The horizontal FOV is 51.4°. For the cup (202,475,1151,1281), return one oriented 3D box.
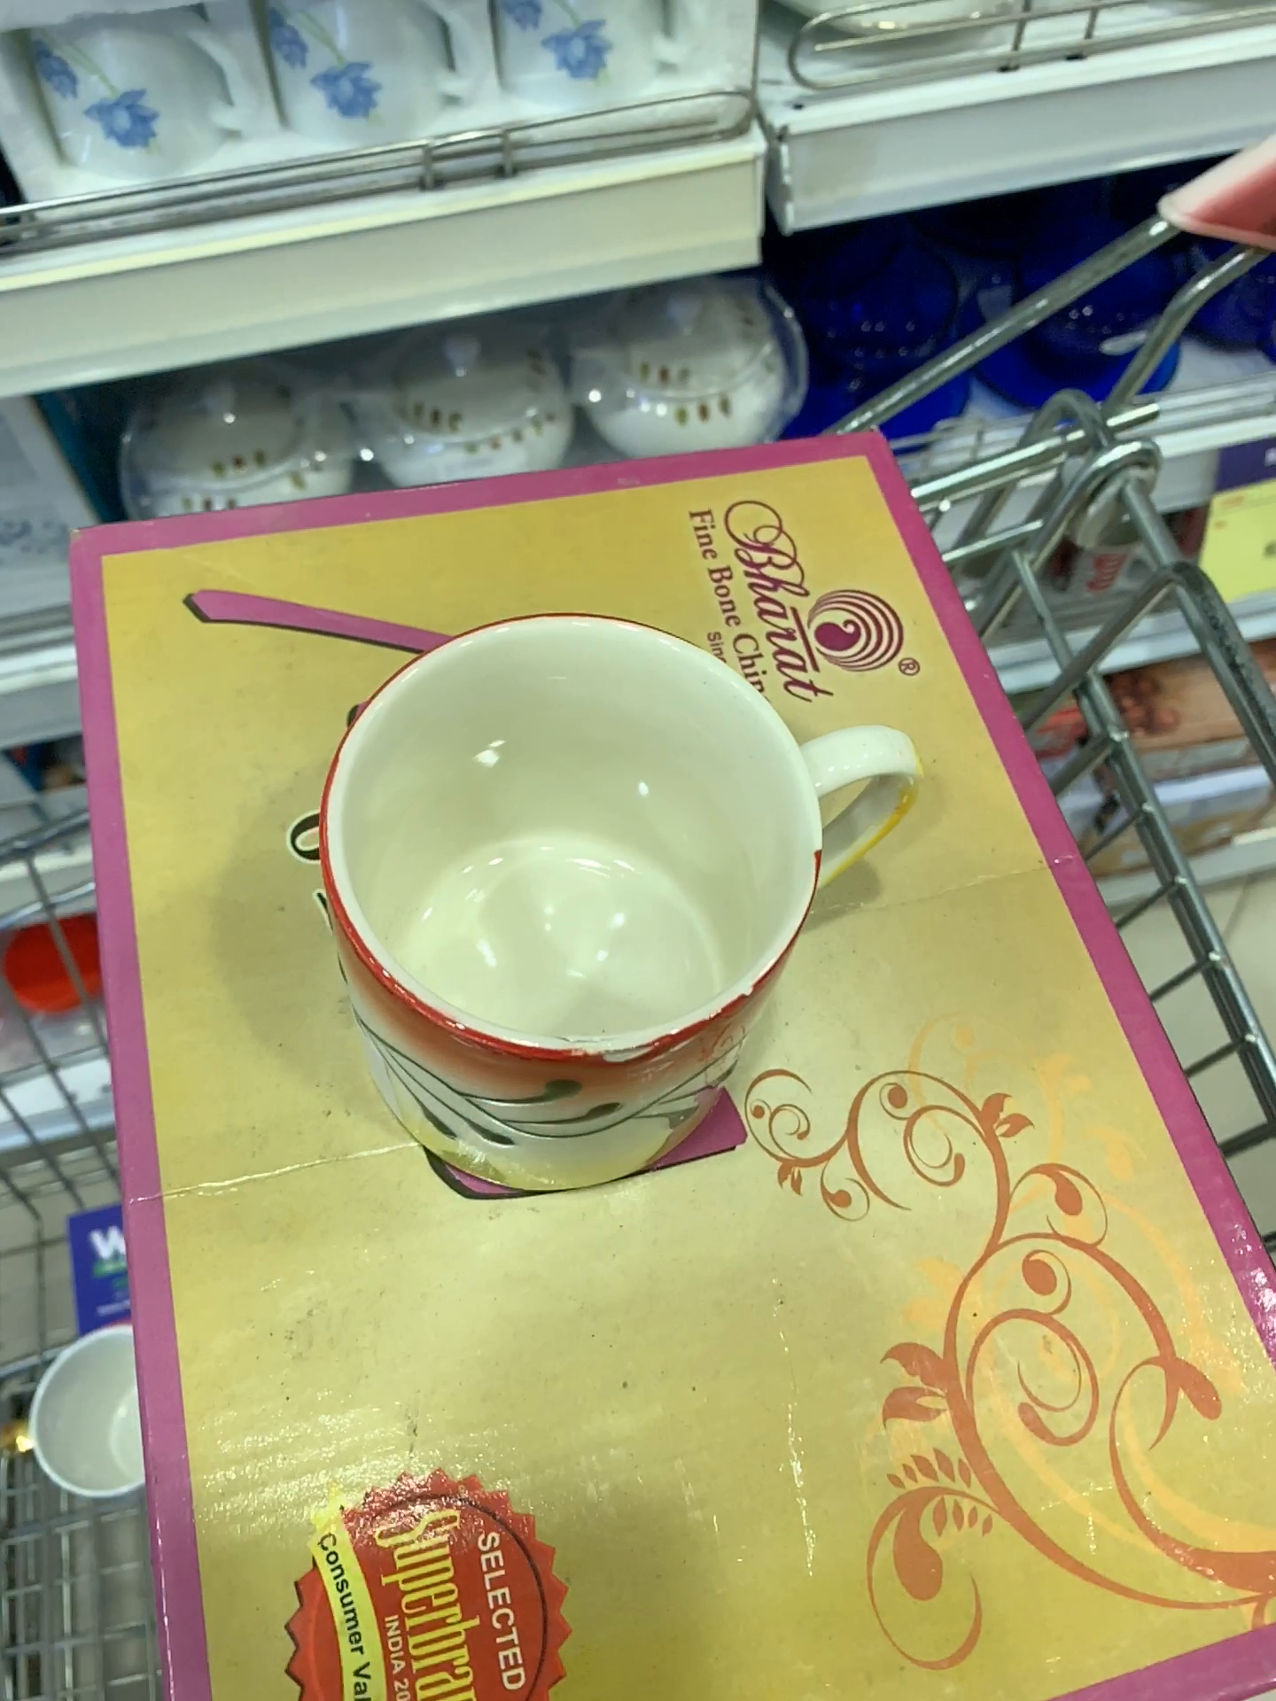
[{"bbox_3d":[0.000,0.004,0.213,0.110,0.070,0.080,-15,63,-15],"label":"cup"}]
